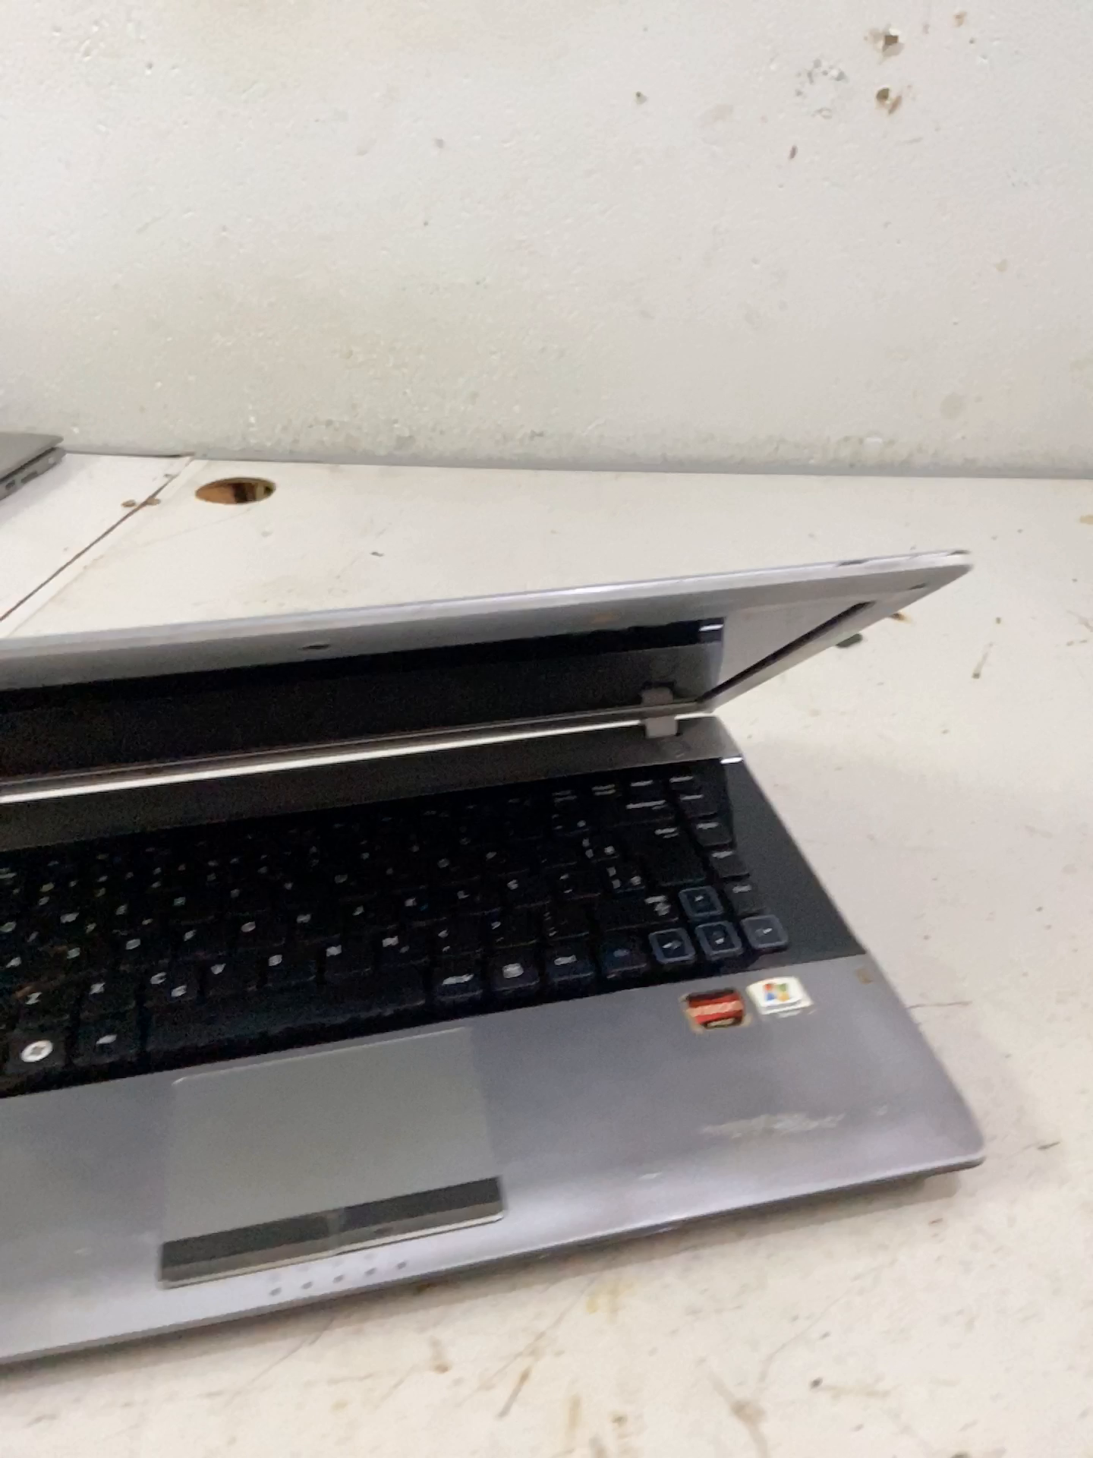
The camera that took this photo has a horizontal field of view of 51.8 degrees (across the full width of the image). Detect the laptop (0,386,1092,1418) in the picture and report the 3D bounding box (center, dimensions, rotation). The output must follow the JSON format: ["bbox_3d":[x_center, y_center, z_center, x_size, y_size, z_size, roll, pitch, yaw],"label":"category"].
[{"bbox_3d":[-0.066,0.013,0.350,0.344,0.150,0.234,-7,33,-11],"label":"laptop"}]
